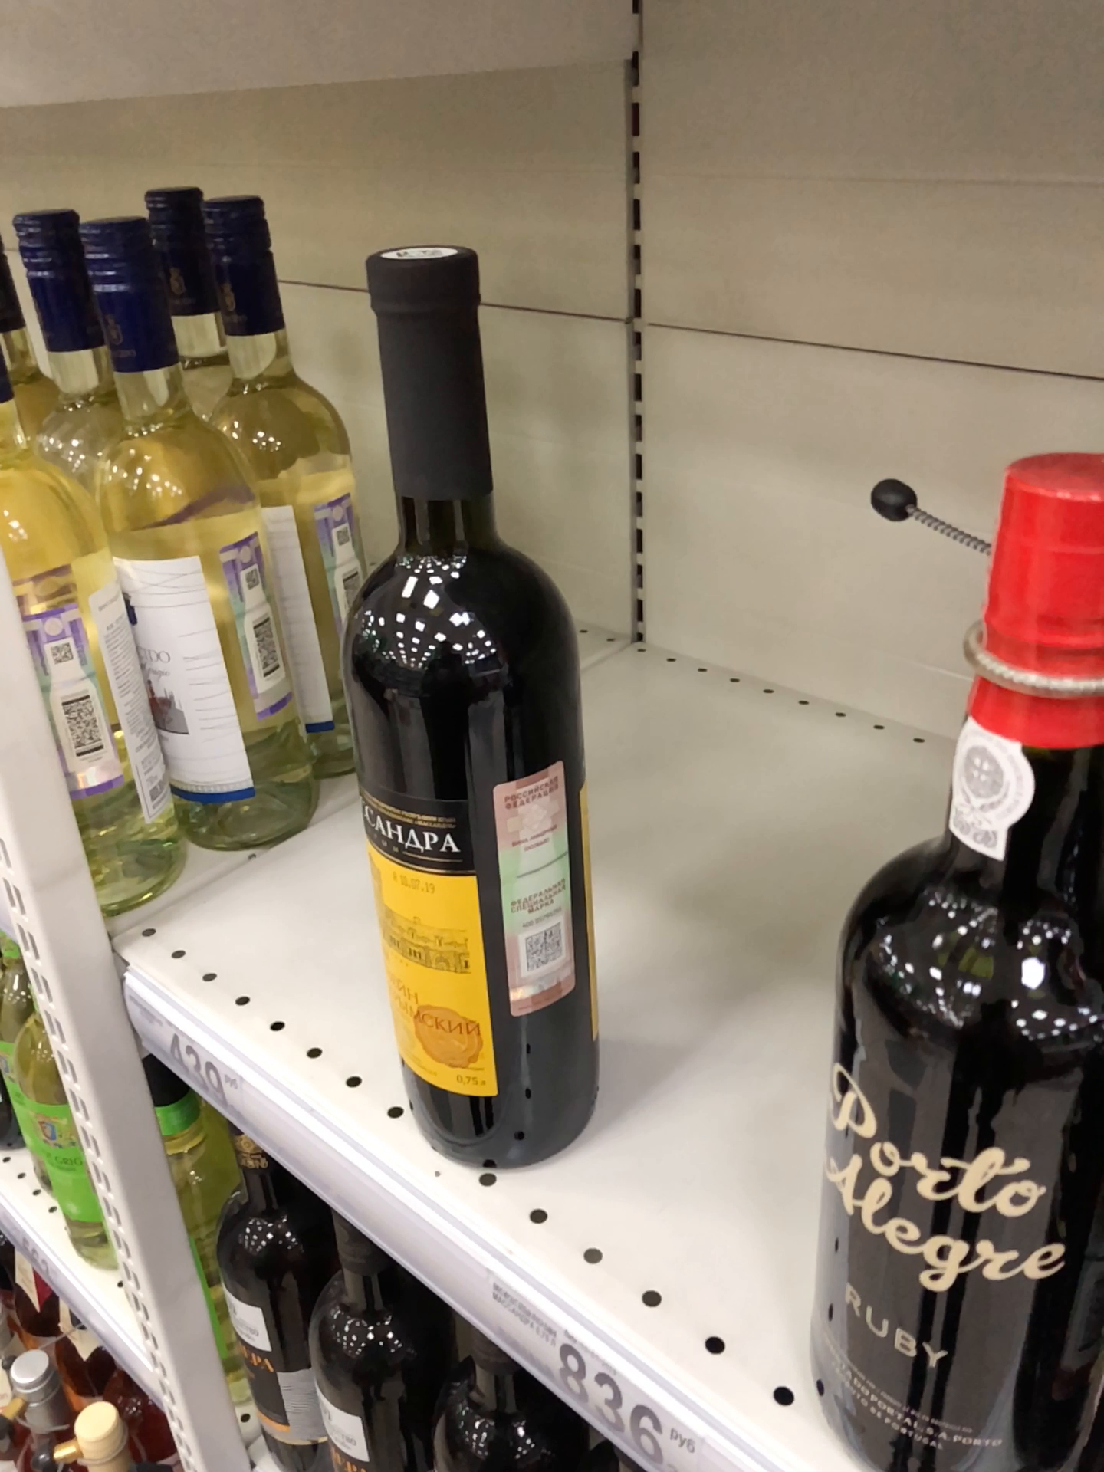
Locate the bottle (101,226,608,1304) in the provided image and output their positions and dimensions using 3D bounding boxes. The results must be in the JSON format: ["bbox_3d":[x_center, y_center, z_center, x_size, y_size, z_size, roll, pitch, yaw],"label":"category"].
[{"bbox_3d":[-0.054,0.020,0.421,0.100,0.348,0.100,-2,28,1],"label":"bottle"}]
